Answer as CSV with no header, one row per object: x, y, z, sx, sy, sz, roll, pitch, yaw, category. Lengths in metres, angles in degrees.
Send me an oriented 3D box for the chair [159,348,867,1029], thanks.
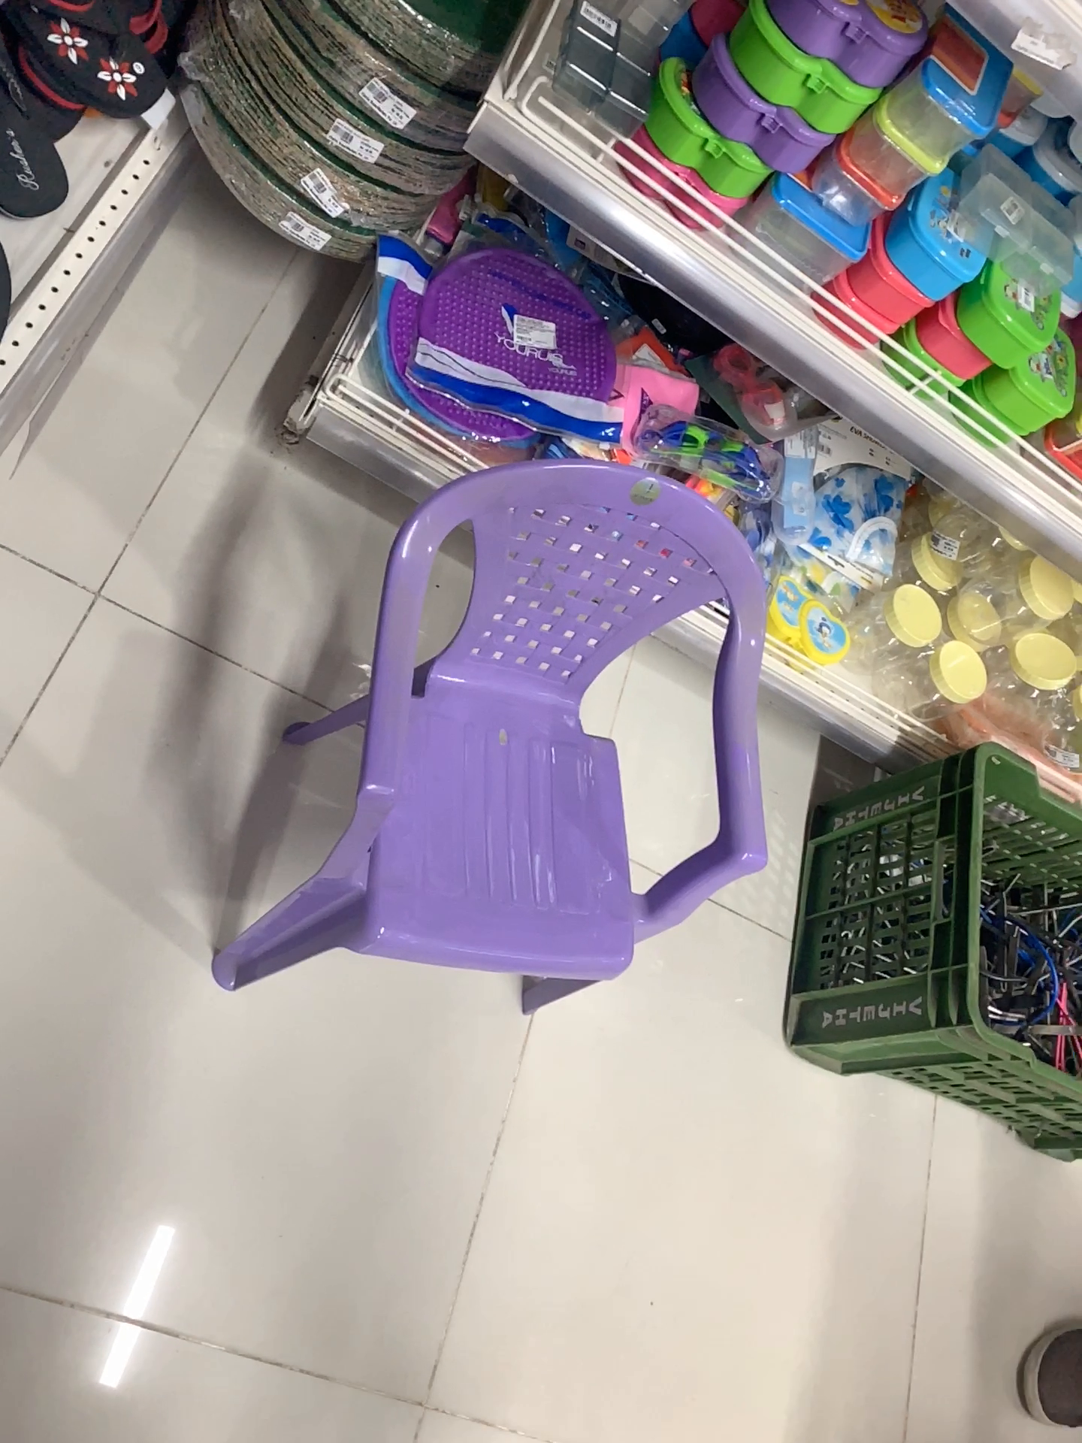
-0.049,0.033,0.957,0.421,0.429,0.400,11,66,-27,chair
